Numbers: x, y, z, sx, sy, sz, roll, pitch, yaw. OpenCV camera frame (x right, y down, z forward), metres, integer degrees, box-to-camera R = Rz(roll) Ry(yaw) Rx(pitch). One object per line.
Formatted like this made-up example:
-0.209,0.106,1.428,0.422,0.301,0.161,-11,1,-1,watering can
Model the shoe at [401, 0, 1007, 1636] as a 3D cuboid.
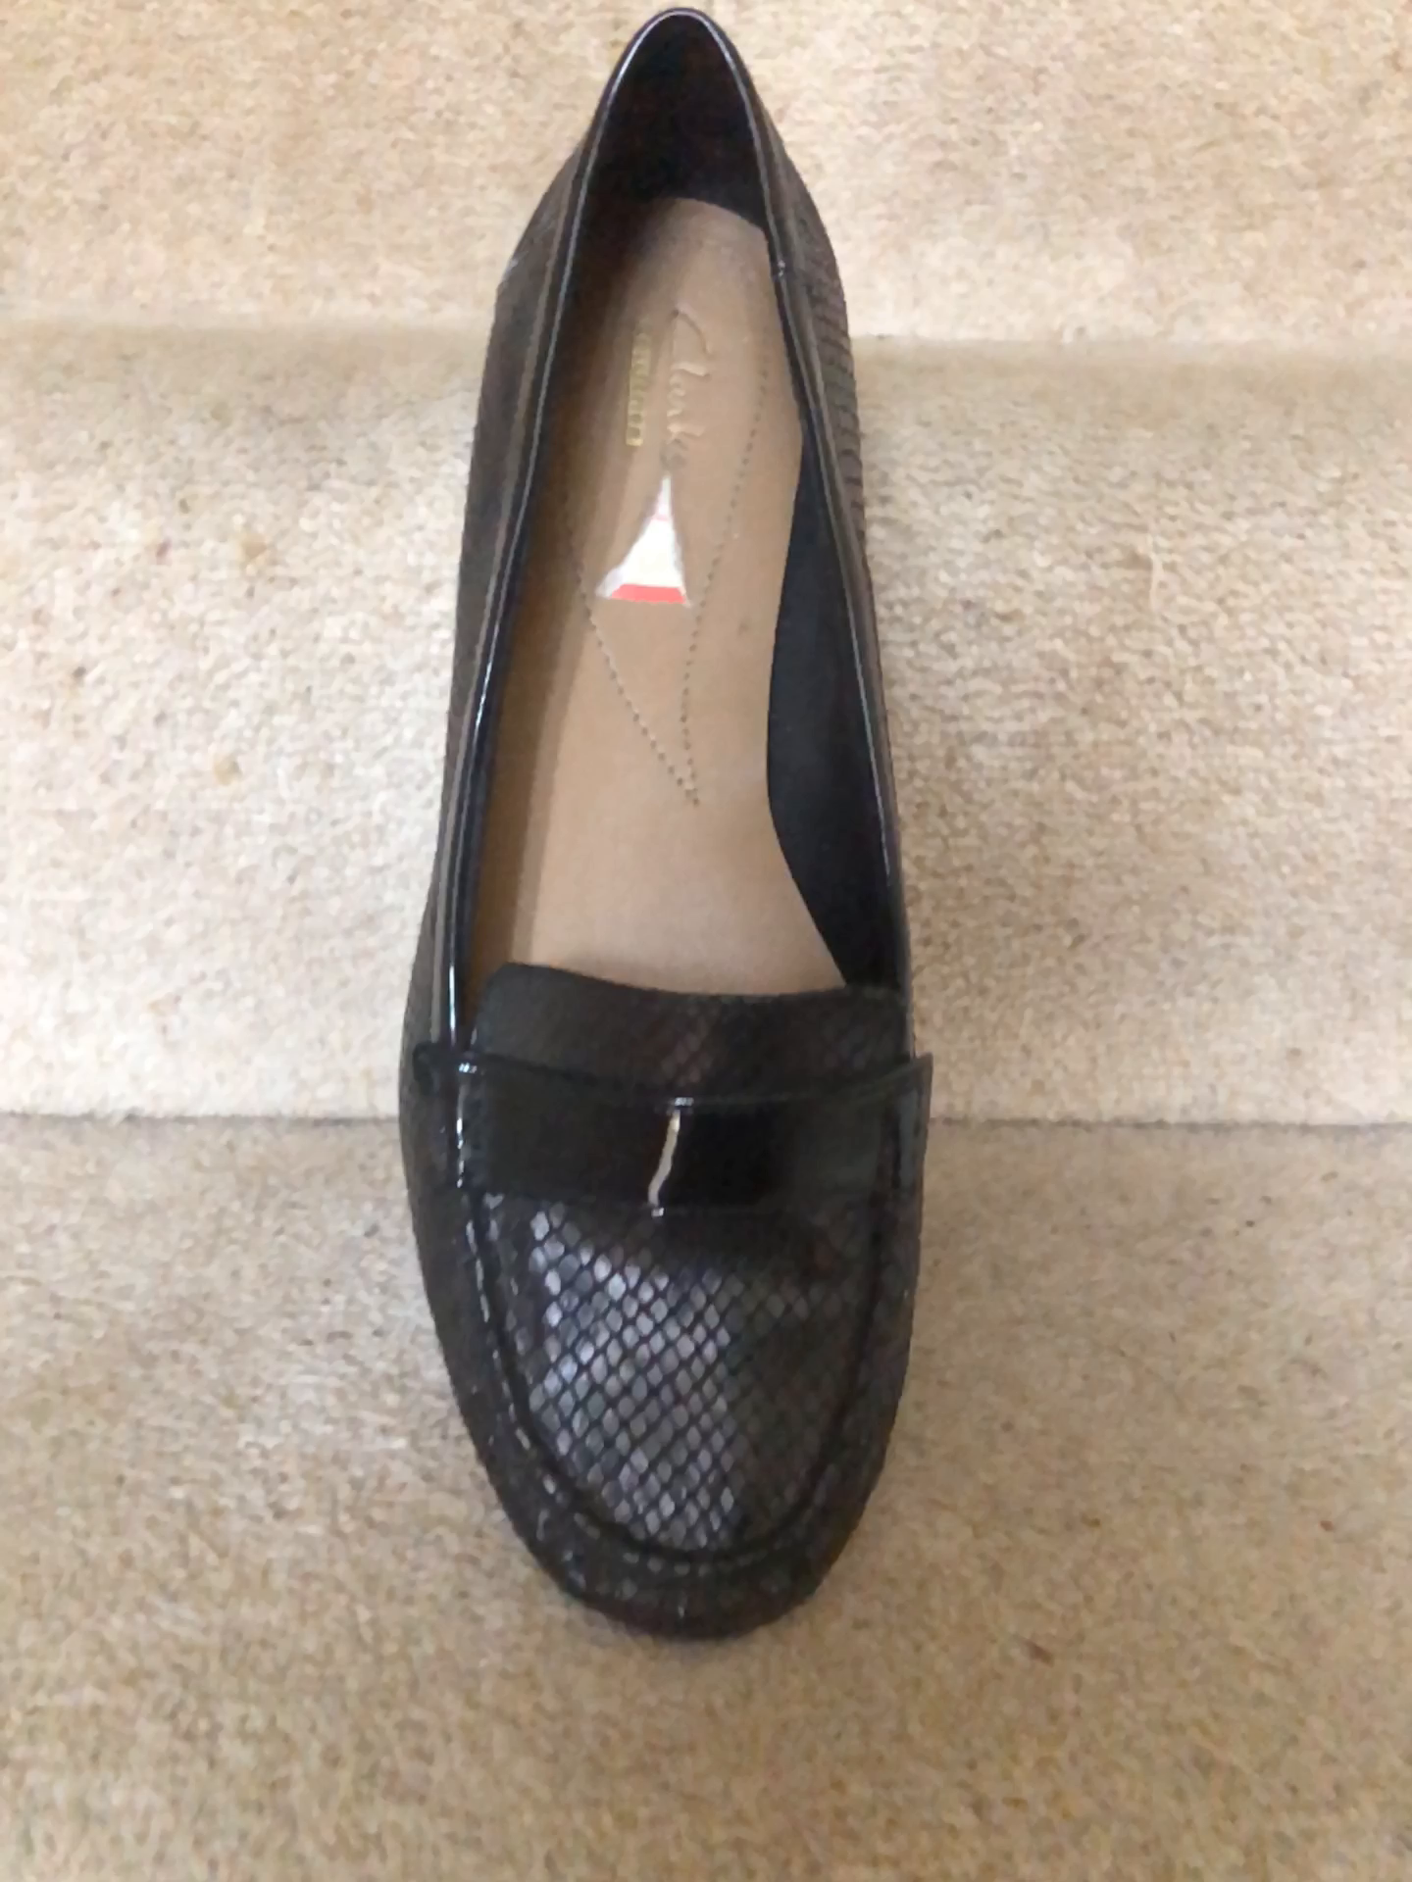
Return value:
-0.001,-0.025,0.279,0.090,0.260,0.070,2,-6,-7,shoe
